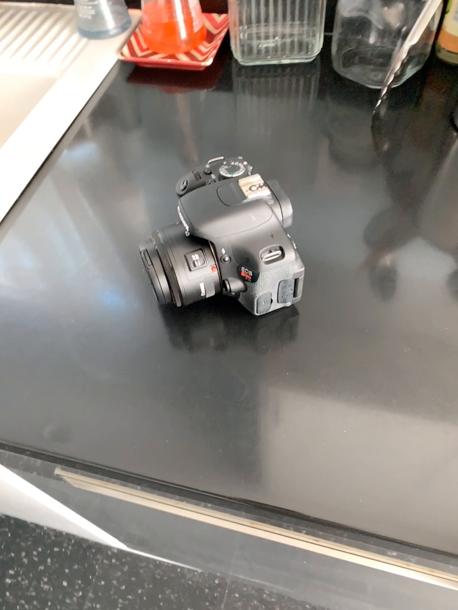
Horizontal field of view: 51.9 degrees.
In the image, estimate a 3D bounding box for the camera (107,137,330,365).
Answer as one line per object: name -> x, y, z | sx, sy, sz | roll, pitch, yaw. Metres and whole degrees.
camera -> -0.012, -0.052, 0.428 | 0.145, 0.100, 0.141 | -19, 56, -9
